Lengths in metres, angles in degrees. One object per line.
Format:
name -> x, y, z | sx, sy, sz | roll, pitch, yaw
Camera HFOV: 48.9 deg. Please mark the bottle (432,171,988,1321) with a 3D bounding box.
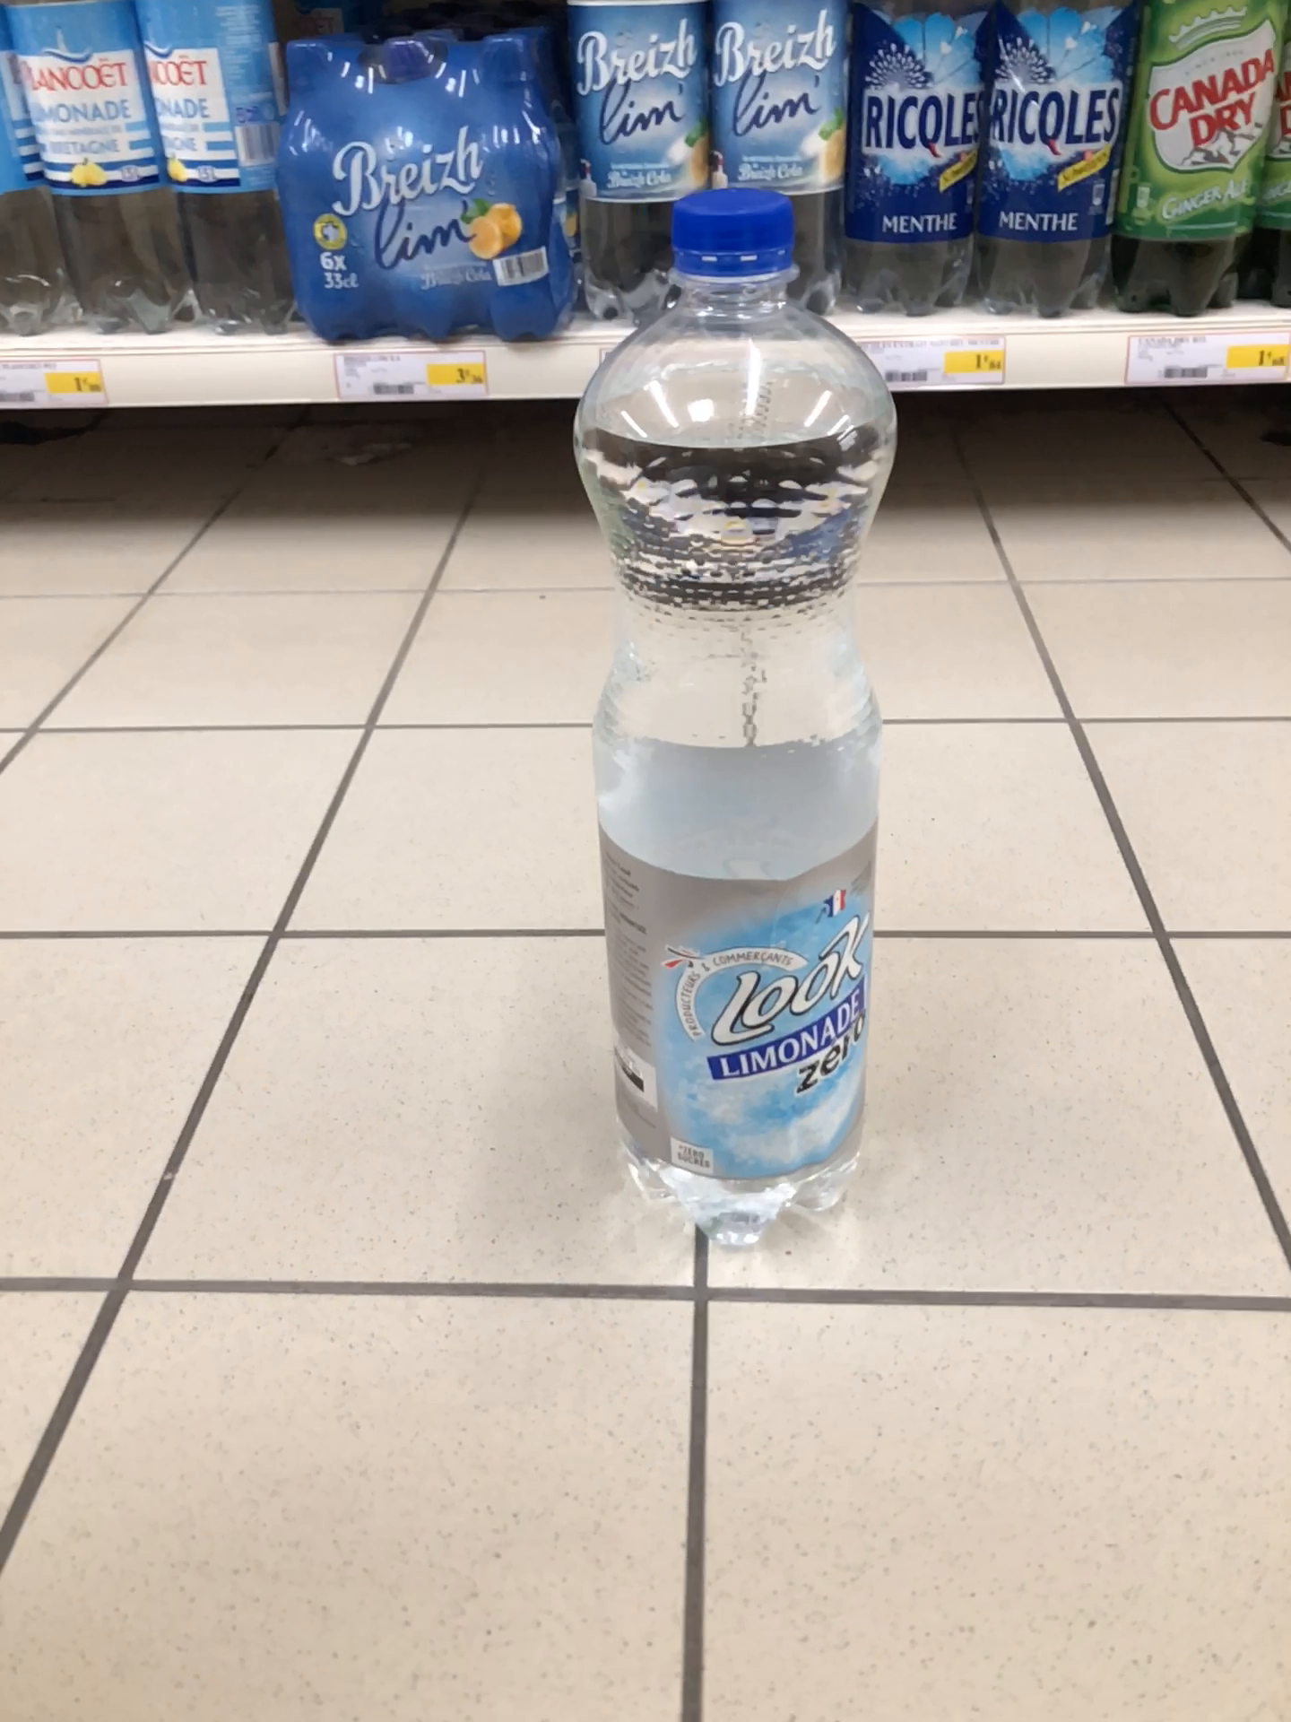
bottle -> 0.019, -0.024, 0.441 | 0.100, 0.328, 0.100 | -2, 32, 1
